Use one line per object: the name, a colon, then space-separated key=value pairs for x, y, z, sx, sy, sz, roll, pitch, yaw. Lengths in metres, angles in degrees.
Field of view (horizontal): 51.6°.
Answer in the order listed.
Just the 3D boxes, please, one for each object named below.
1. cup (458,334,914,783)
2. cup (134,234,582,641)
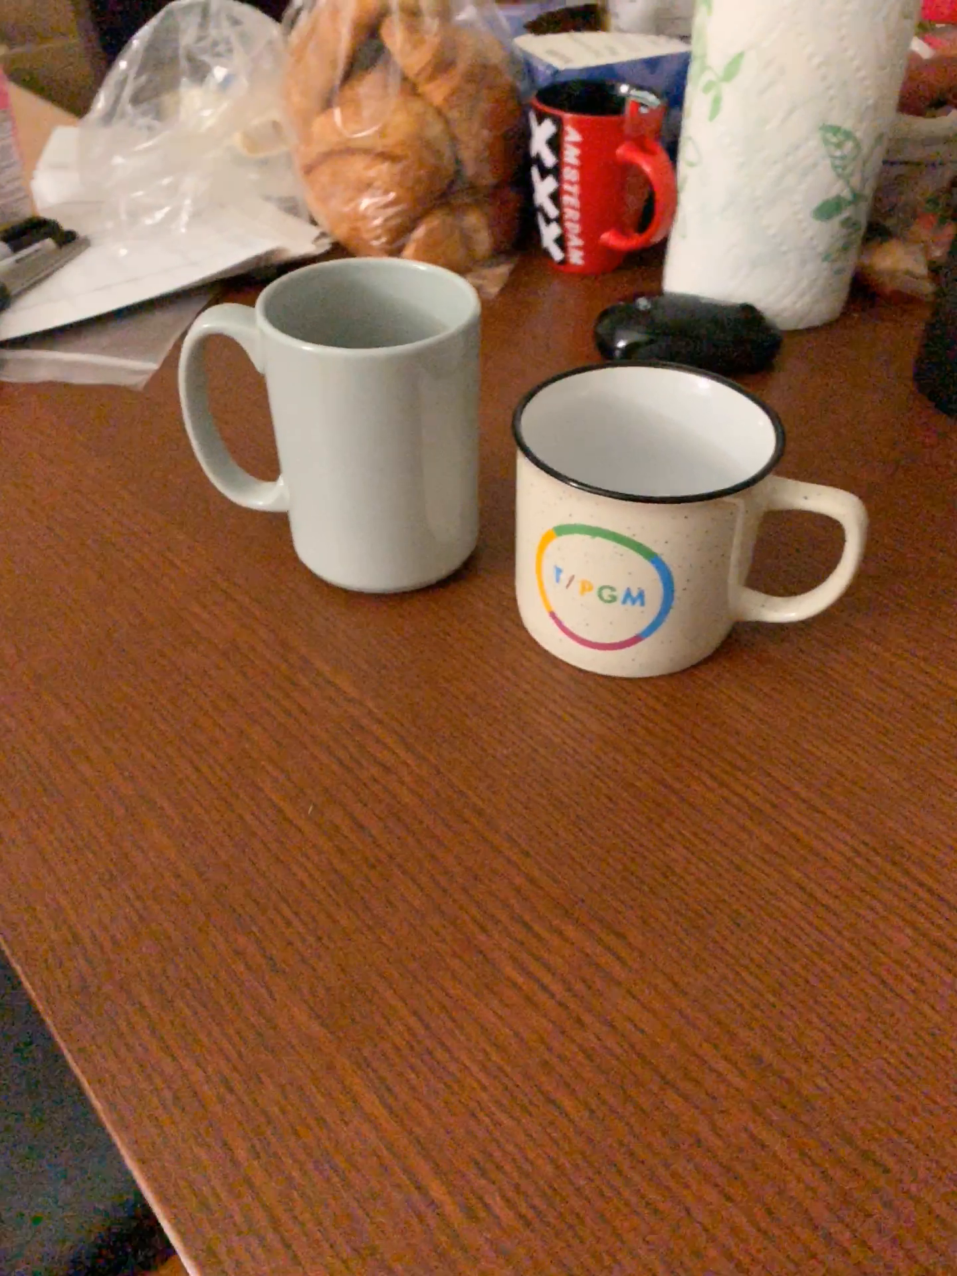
cup: x=0.074 y=-0.036 z=0.383 sx=0.130 sy=0.099 sz=0.100 roll=23 pitch=47 yaw=23
cup: x=-0.045 y=-0.089 z=0.415 sx=0.140 sy=0.099 sz=0.100 roll=22 pitch=47 yaw=23
